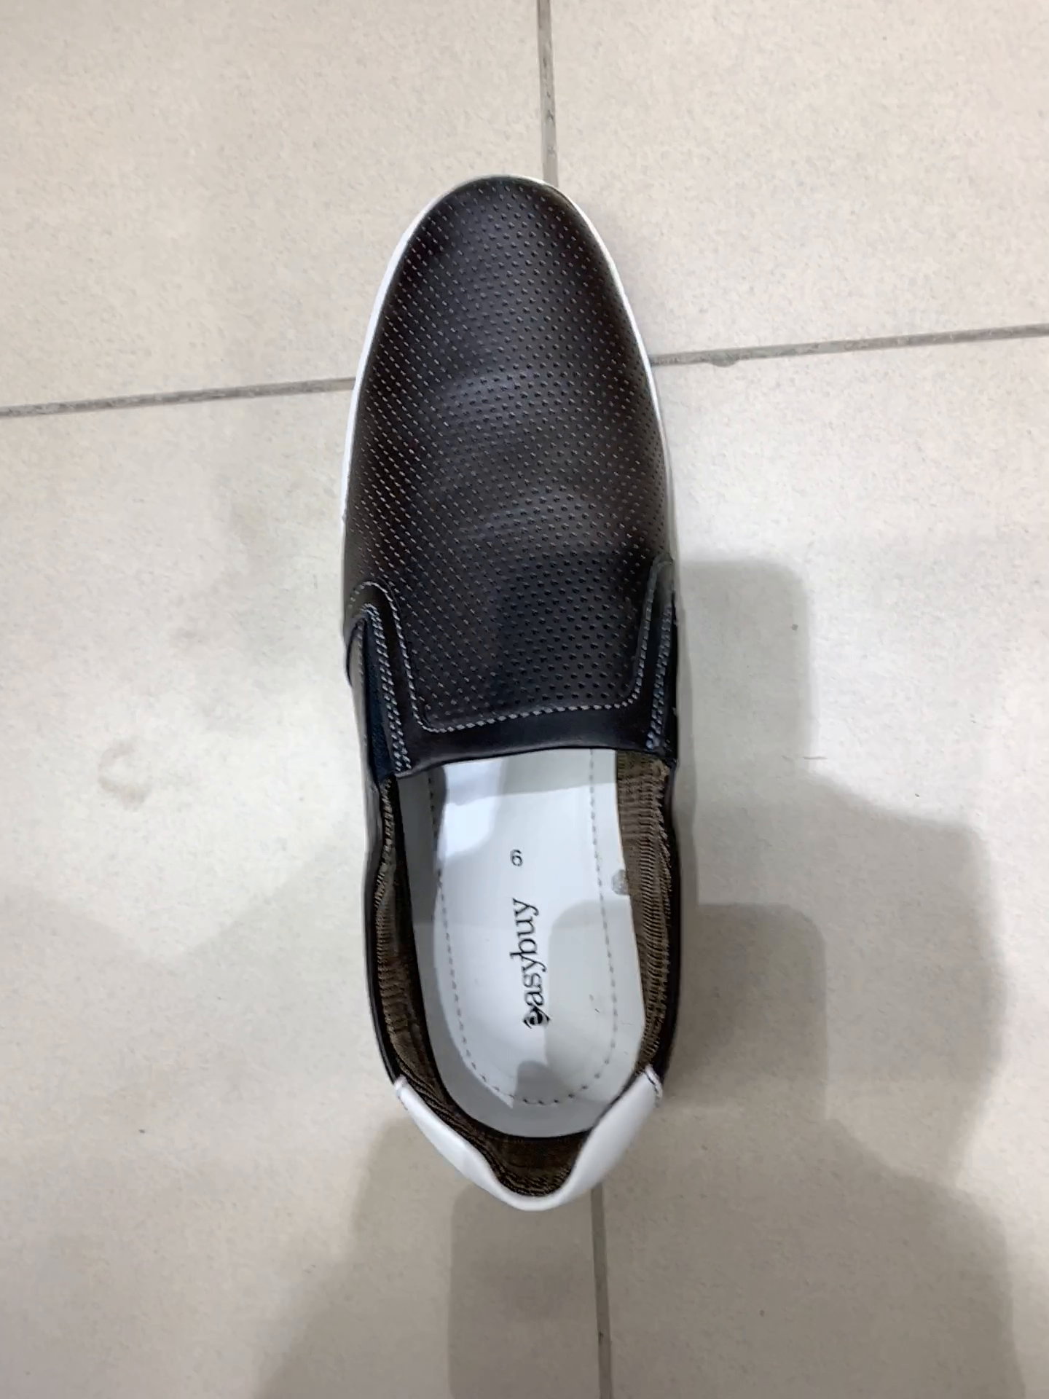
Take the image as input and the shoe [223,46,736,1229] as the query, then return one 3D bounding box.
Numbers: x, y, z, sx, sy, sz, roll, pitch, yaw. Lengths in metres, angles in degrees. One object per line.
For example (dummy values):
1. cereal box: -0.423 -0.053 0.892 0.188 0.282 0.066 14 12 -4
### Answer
1. shoe: -0.008 -0.013 0.327 0.110 0.090 0.300 -5 89 8
